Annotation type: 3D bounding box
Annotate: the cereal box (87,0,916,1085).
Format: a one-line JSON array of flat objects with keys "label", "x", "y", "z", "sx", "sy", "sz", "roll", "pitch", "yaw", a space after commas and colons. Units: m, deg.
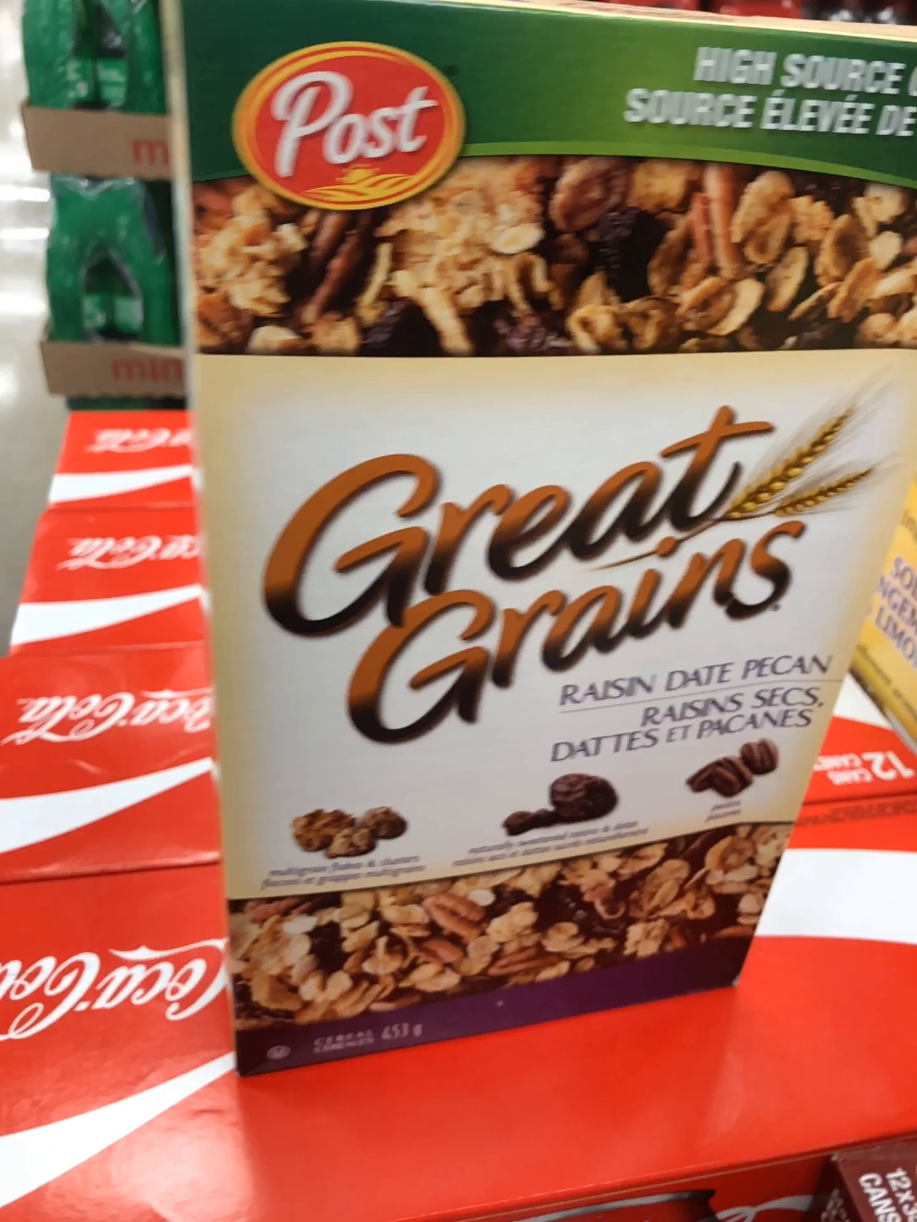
[{"label": "cereal box", "x": 0.016, "y": -0.002, "z": 0.252, "sx": 0.170, "sy": 0.269, "sz": 0.050, "roll": -4, "pitch": 34, "yaw": -14}]
